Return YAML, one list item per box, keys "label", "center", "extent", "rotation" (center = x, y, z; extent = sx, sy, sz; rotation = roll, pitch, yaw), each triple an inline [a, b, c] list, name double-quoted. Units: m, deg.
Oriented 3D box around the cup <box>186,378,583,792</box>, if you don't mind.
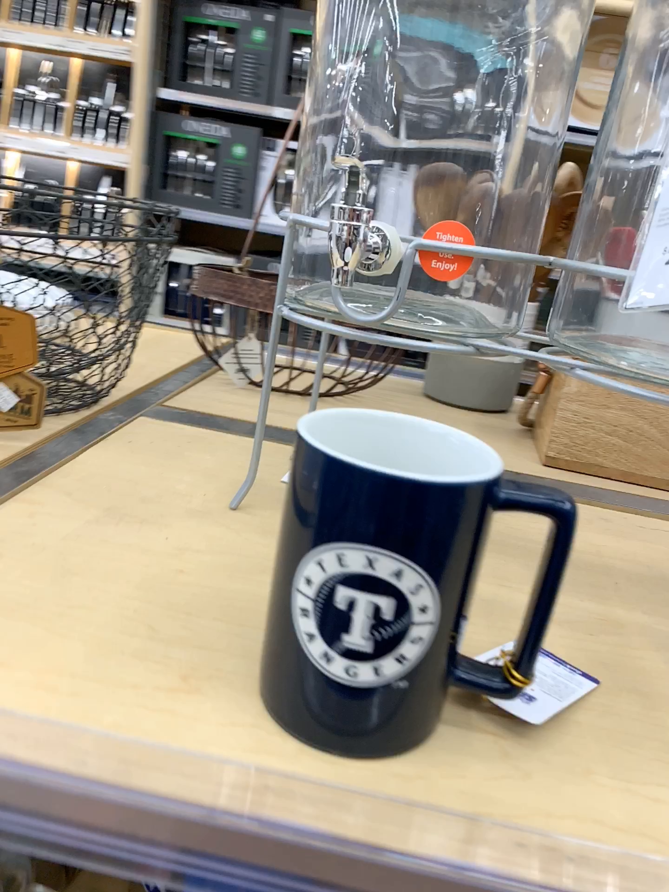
- label: "cup"
  center: [0.017, 0.049, 0.292]
  extent: [0.123, 0.121, 0.097]
  rotation: [10, 17, 4]
